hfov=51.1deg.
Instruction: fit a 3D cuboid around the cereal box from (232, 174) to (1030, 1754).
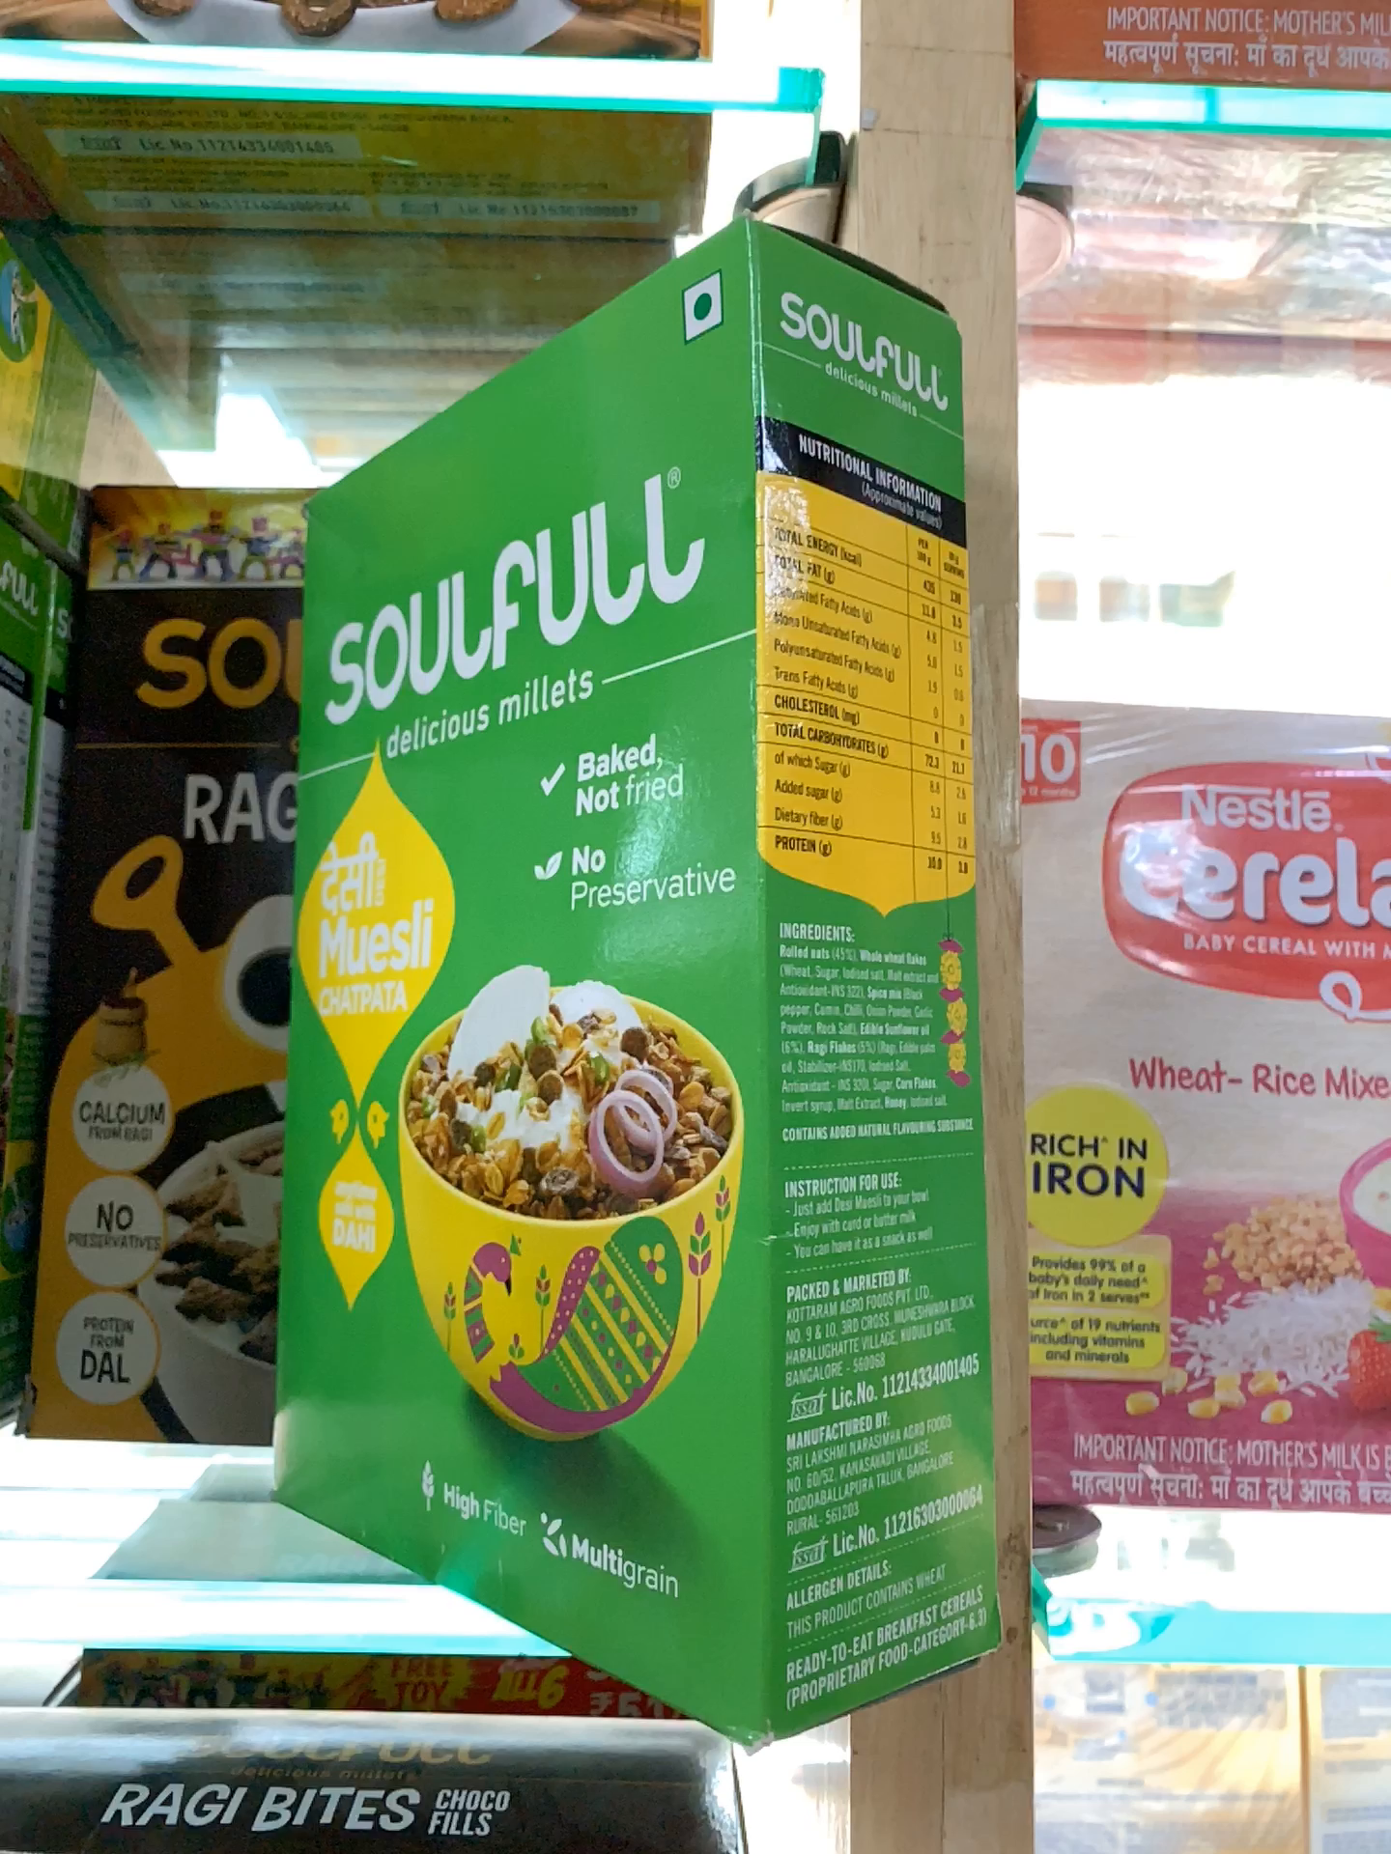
[{"bbox_3d":[-0.022,0.006,0.282,0.060,0.221,0.160,7,-9,-41],"label":"cereal box"}]
